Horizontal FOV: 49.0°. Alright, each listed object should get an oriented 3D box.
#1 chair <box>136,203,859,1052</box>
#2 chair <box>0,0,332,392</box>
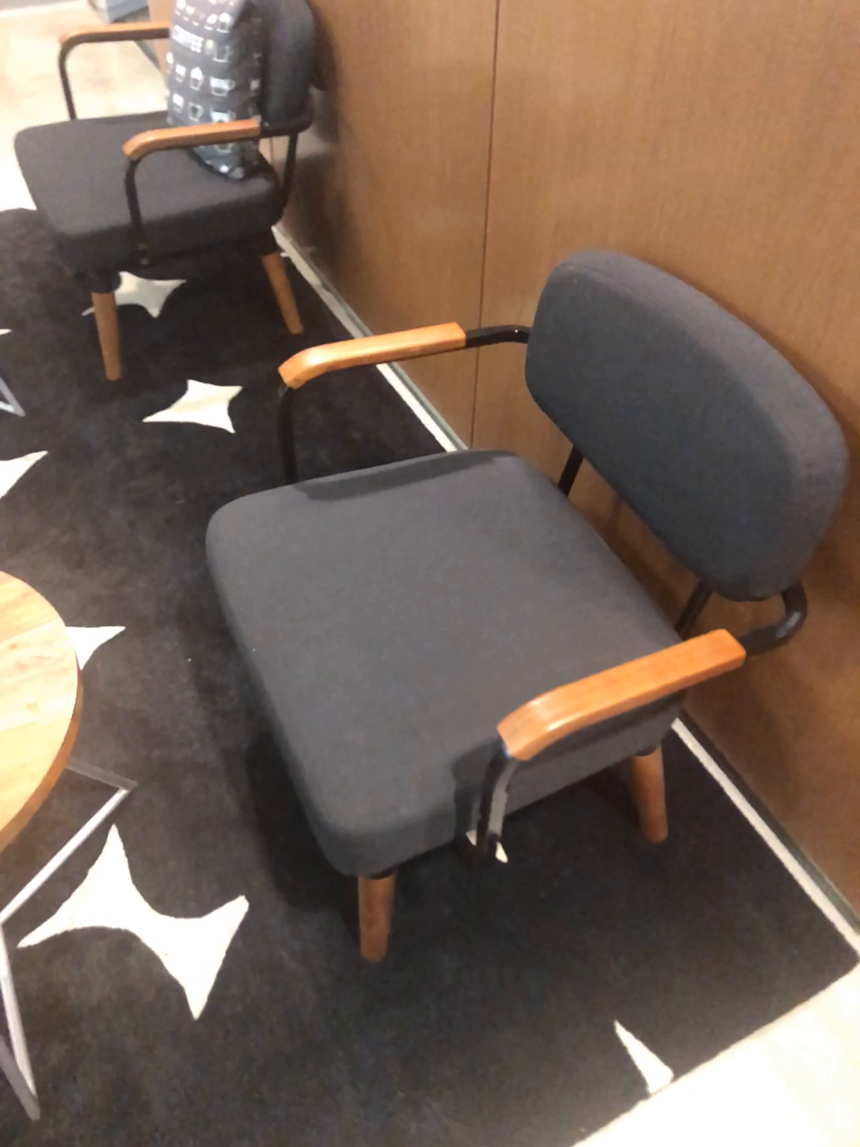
[{"bbox_3d":[0.079,0.035,1.269,0.682,0.713,0.684,-16,48,-20],"label":"chair"},{"bbox_3d":[-0.618,-0.954,2.092,0.572,0.713,0.734,-15,48,-20],"label":"chair"}]
